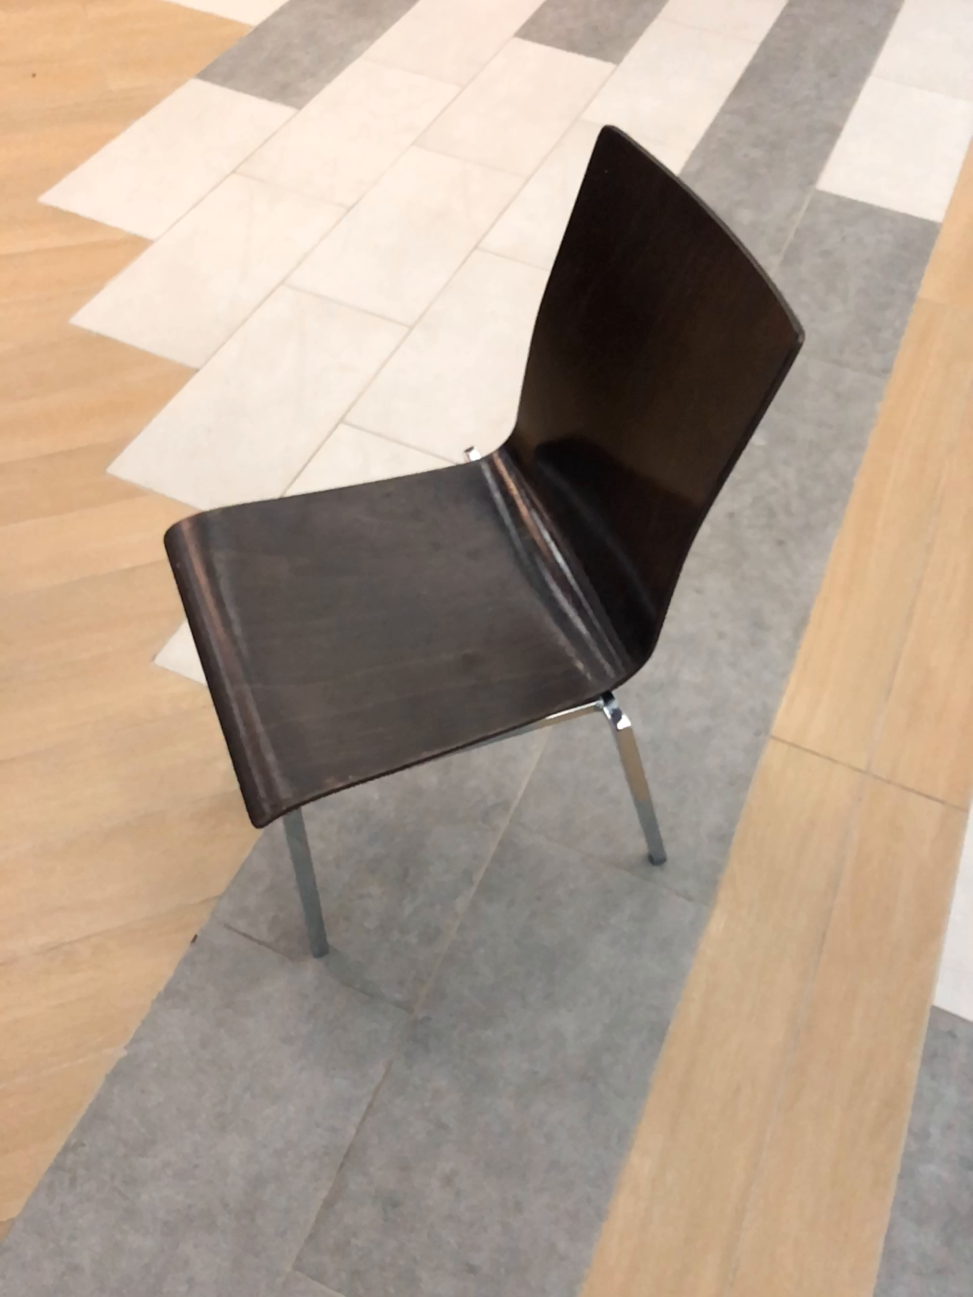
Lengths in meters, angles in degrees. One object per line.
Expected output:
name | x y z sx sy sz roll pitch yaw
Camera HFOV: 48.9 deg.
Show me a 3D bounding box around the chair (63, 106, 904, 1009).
chair | -0.042 -0.035 1.188 0.542 0.848 0.435 -17 57 -15
